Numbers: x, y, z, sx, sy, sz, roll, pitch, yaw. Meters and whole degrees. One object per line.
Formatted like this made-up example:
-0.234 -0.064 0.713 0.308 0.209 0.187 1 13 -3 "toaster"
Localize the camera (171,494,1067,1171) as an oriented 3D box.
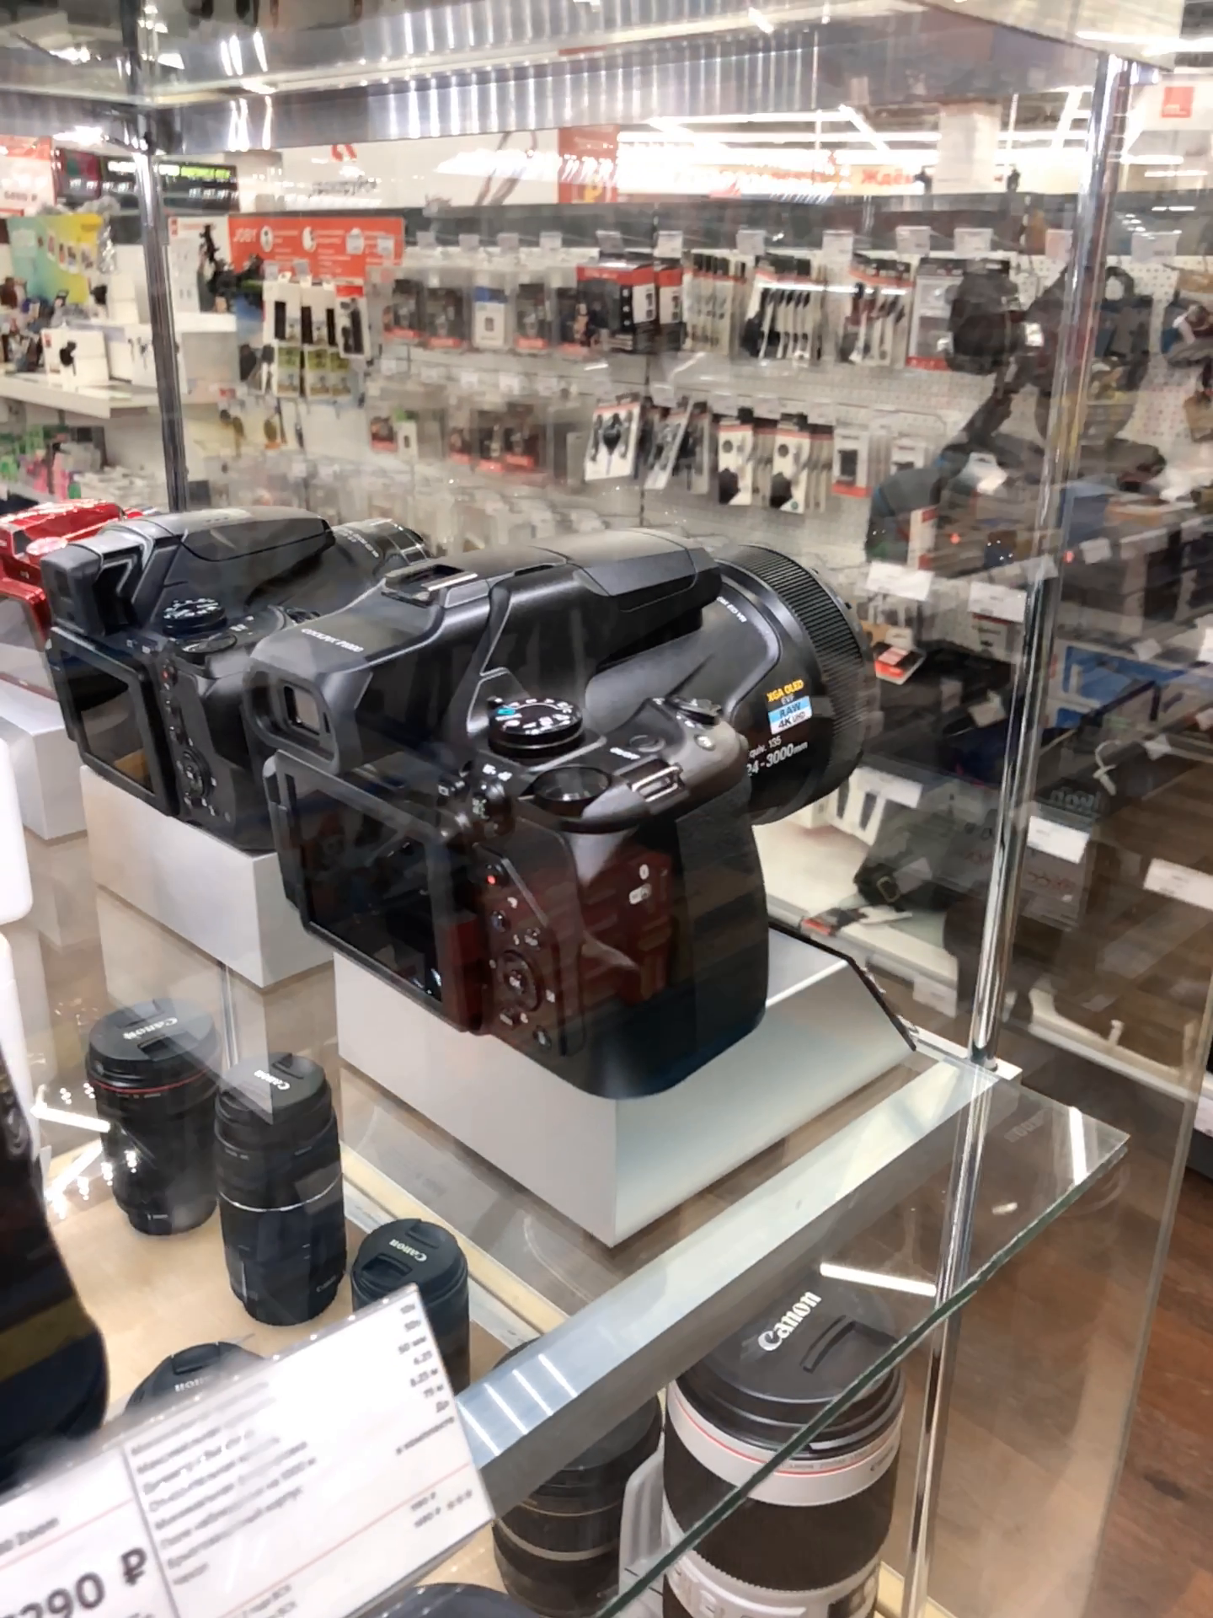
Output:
0.007 -0.018 0.400 0.201 0.114 0.160 -19 29 -41 "camera"
